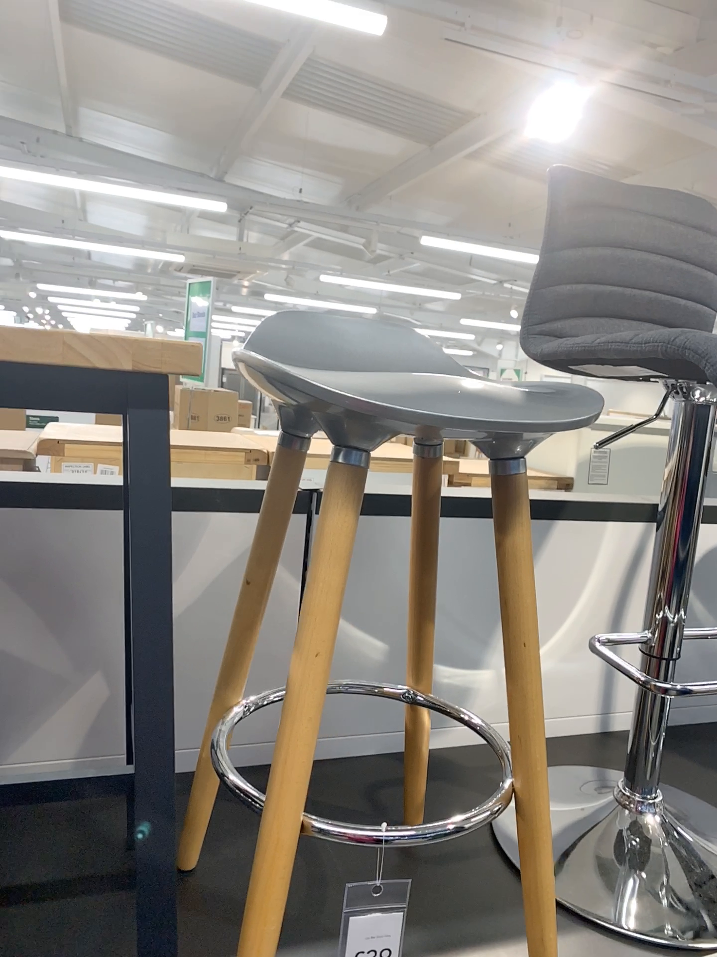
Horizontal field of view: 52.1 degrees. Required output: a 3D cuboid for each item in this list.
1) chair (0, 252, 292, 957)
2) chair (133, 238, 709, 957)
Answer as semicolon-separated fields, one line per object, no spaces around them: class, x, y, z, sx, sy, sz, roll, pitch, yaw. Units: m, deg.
chair;-0.377;0.189;0.744;0.442;0.688;0.502;3;7;-22
chair;0.002;0.171;0.844;0.442;0.738;0.462;3;7;-20
